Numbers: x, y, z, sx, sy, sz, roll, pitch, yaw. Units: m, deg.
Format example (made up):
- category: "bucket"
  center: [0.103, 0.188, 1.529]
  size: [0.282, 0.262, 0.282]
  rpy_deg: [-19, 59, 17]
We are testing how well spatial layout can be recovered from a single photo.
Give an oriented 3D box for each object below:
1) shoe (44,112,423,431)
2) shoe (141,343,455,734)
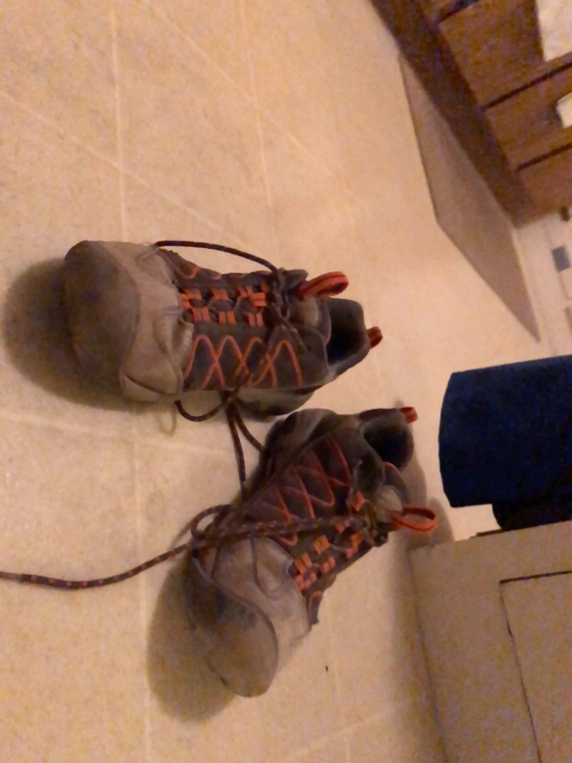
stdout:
- category: "shoe"
  center: [-0.019, -0.052, 0.488]
  size: [0.294, 0.121, 0.127]
  rpy_deg: [16, 60, -55]
- category: "shoe"
  center: [0.036, 0.103, 0.499]
  size: [0.127, 0.121, 0.284]
  rpy_deg: [60, 31, -17]
